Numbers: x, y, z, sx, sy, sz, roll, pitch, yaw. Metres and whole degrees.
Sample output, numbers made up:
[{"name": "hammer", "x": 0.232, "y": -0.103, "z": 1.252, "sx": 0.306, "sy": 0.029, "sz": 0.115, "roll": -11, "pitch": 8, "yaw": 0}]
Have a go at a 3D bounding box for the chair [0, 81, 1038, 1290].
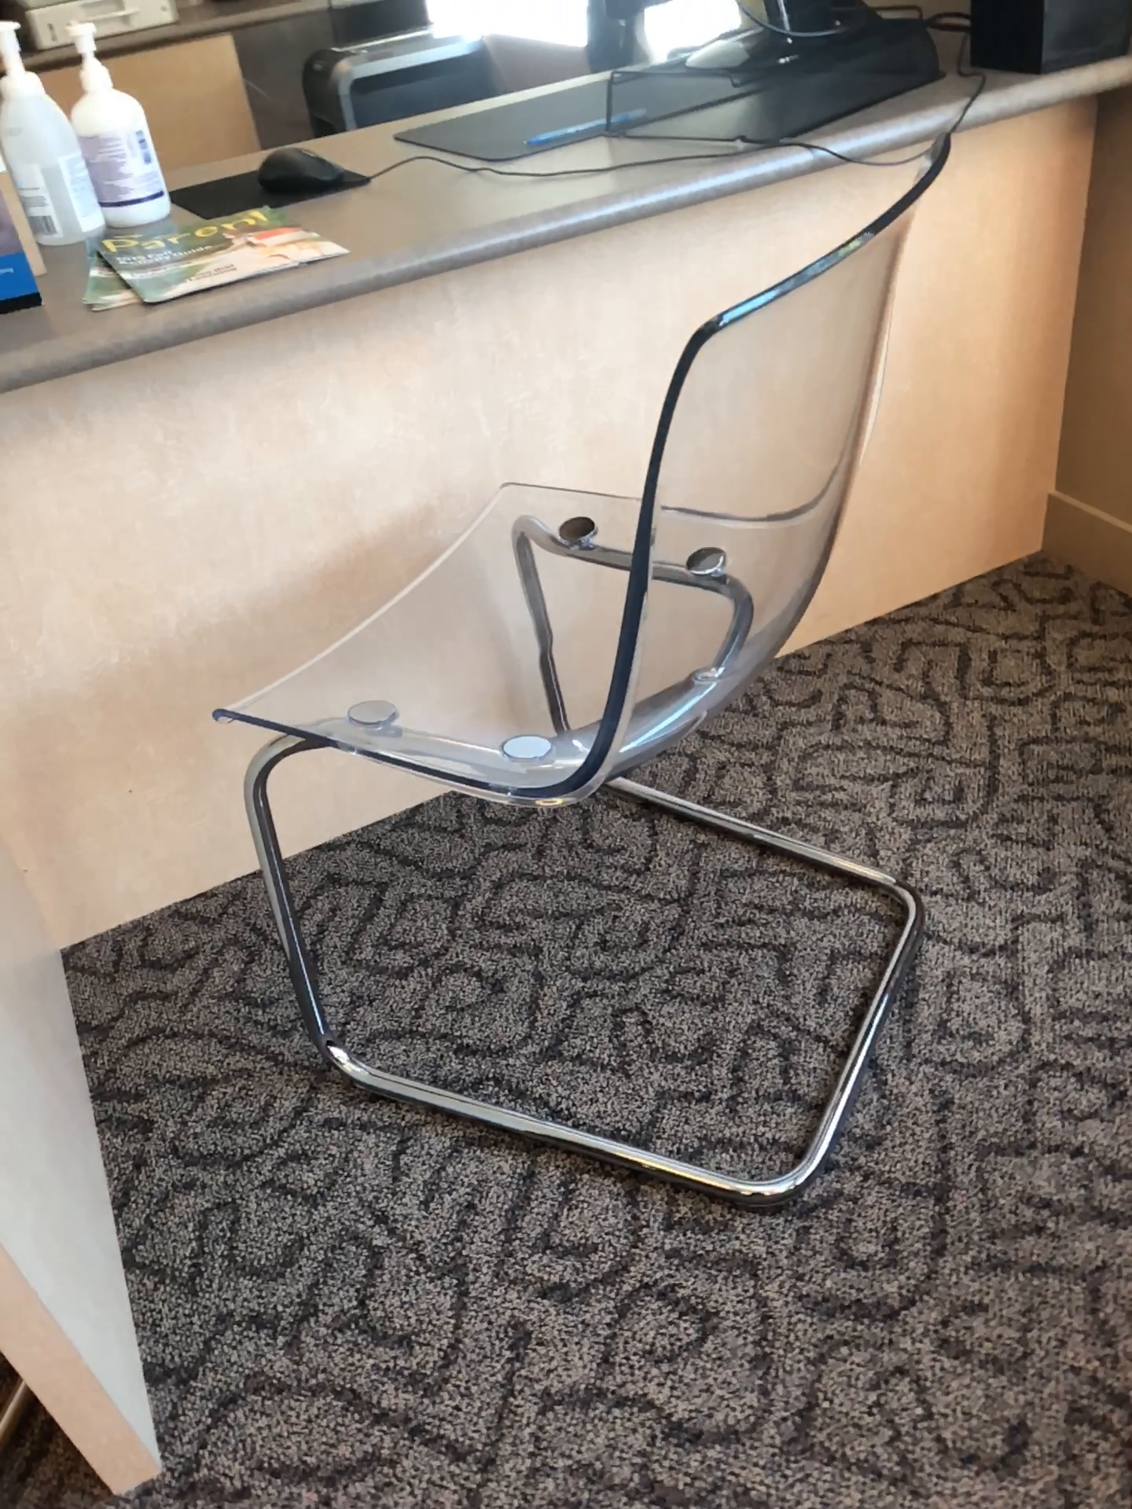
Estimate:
[{"name": "chair", "x": 0.002, "y": -0.106, "z": 1.159, "sx": 0.642, "sy": 0.804, "sz": 0.603, "roll": 13, "pitch": 41, "yaw": 27}]
